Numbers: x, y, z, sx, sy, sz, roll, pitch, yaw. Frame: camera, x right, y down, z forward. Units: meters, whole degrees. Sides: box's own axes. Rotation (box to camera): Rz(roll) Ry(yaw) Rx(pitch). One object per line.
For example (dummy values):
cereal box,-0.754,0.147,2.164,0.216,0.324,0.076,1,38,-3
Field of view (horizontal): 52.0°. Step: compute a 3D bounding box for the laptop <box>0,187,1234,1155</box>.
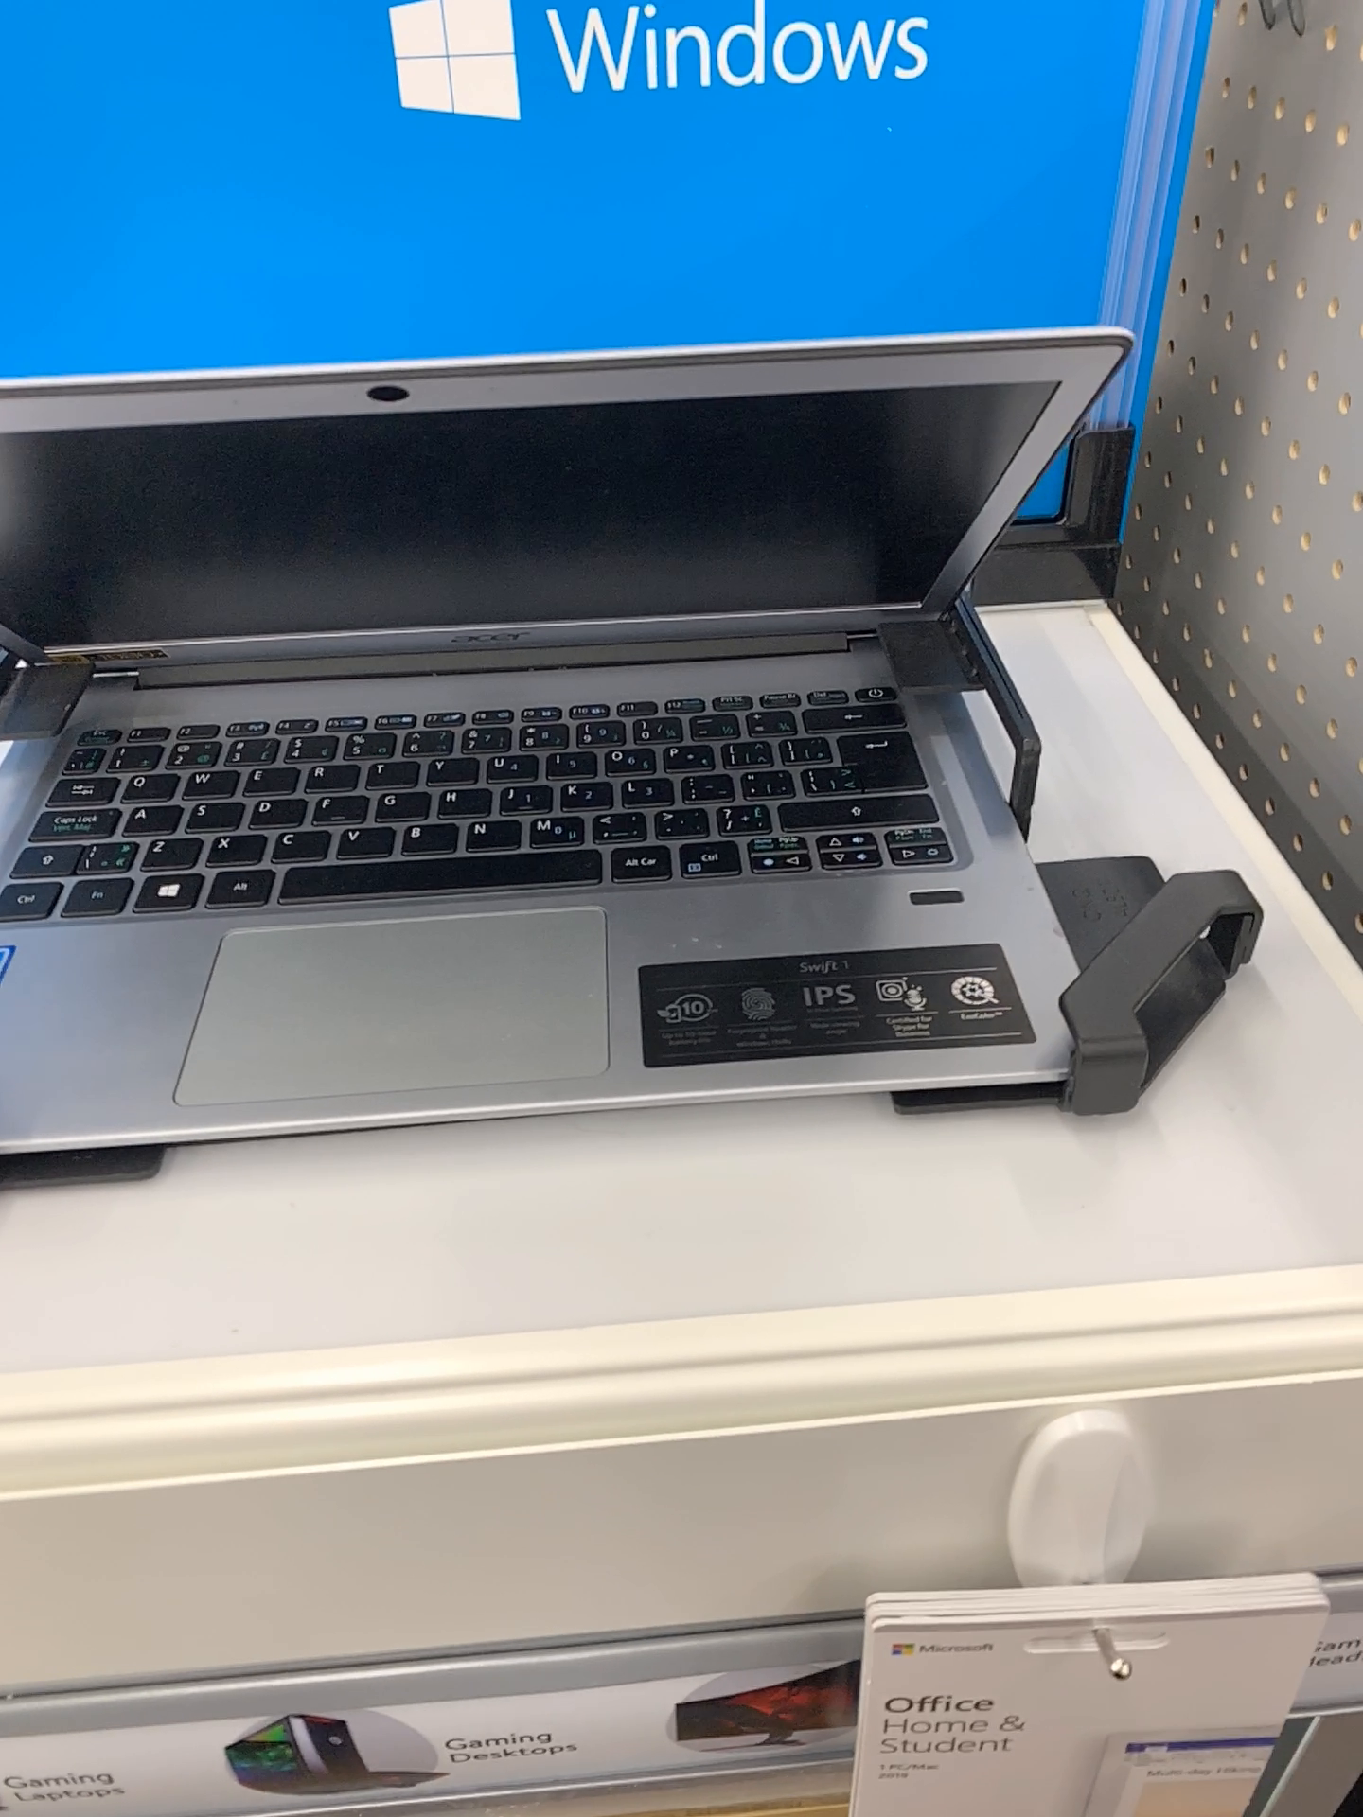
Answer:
laptop,-0.061,-0.072,0.357,0.307,0.140,0.198,-3,40,-1
